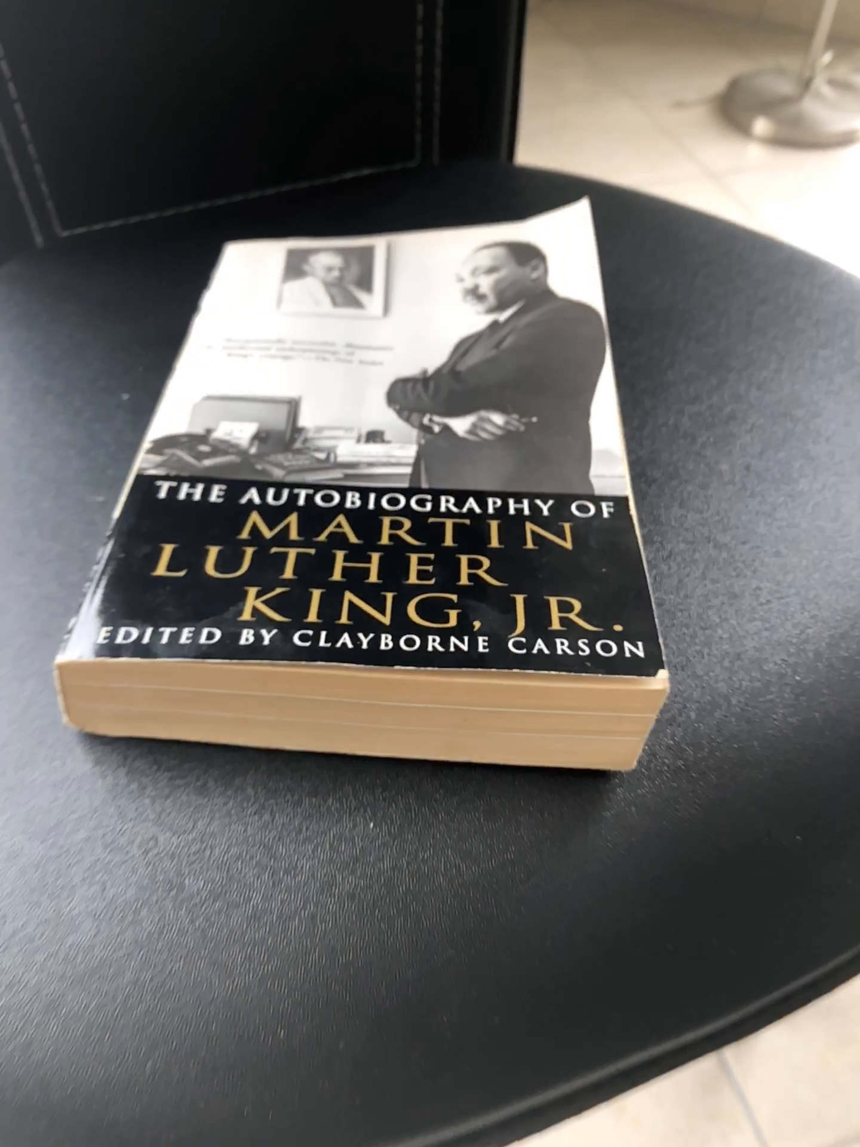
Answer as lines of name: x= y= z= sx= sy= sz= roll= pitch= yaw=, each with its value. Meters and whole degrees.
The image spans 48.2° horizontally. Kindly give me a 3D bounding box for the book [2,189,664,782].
book: x=-0.018 y=-0.046 z=0.325 sx=0.160 sy=0.050 sz=0.231 roll=-2 pitch=47 yaw=6
